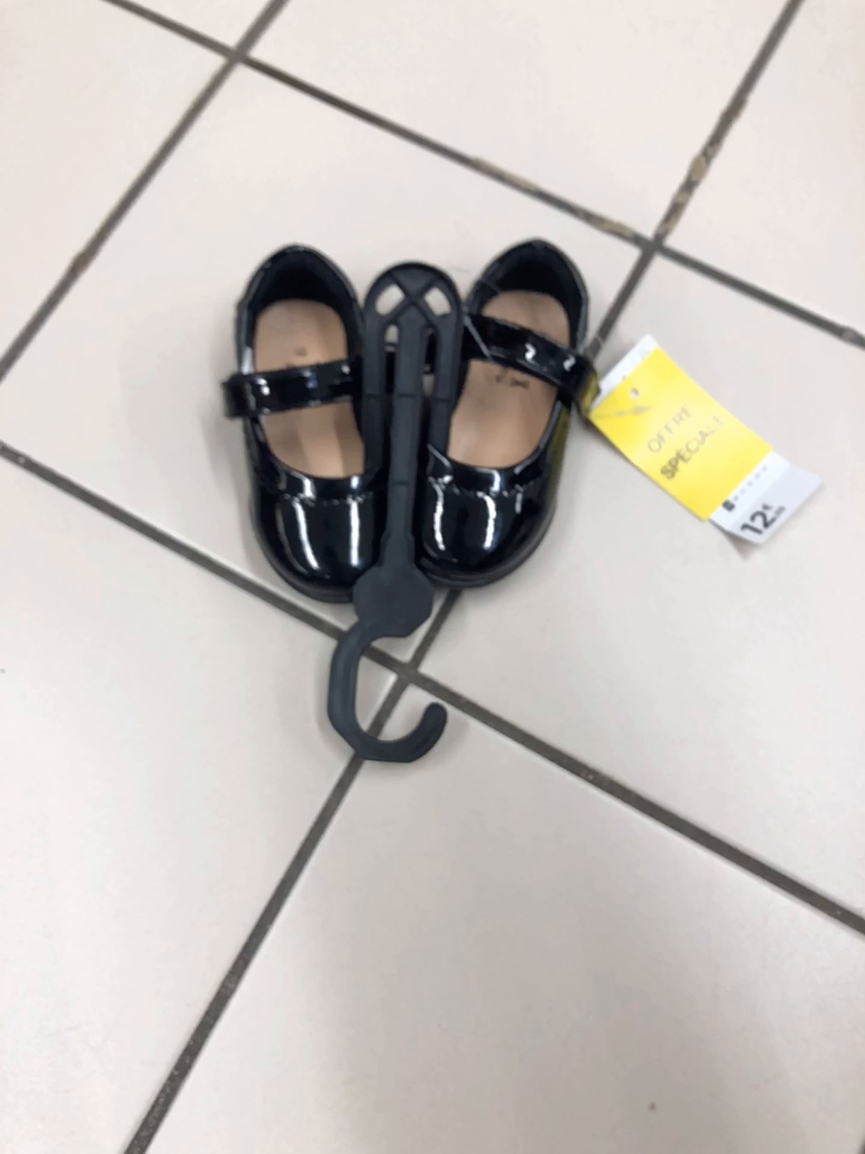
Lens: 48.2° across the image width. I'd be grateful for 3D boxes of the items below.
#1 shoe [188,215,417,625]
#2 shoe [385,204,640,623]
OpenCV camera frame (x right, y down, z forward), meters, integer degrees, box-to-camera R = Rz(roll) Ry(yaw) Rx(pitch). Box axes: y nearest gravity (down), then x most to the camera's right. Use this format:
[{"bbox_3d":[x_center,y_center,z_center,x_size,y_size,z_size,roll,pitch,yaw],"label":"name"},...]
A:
[{"bbox_3d":[-0.045,-0.054,0.338,0.059,0.048,0.127,-9,73,-1],"label":"shoe"},{"bbox_3d":[0.029,-0.057,0.342,0.059,0.048,0.130,12,74,5],"label":"shoe"}]
